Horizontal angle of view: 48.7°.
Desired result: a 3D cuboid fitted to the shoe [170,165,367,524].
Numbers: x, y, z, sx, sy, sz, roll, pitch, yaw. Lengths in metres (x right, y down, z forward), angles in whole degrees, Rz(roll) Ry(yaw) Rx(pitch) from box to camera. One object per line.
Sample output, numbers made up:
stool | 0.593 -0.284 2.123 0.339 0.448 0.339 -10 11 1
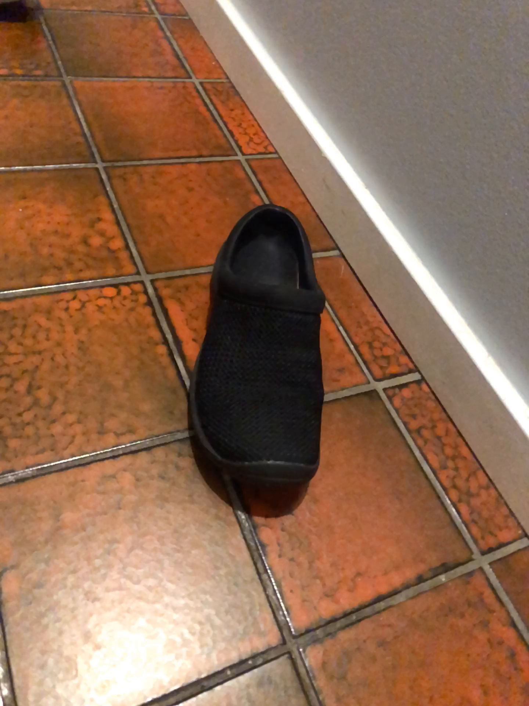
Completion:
shoe | 0.003 -0.018 0.422 0.100 0.080 0.251 10 51 -9
